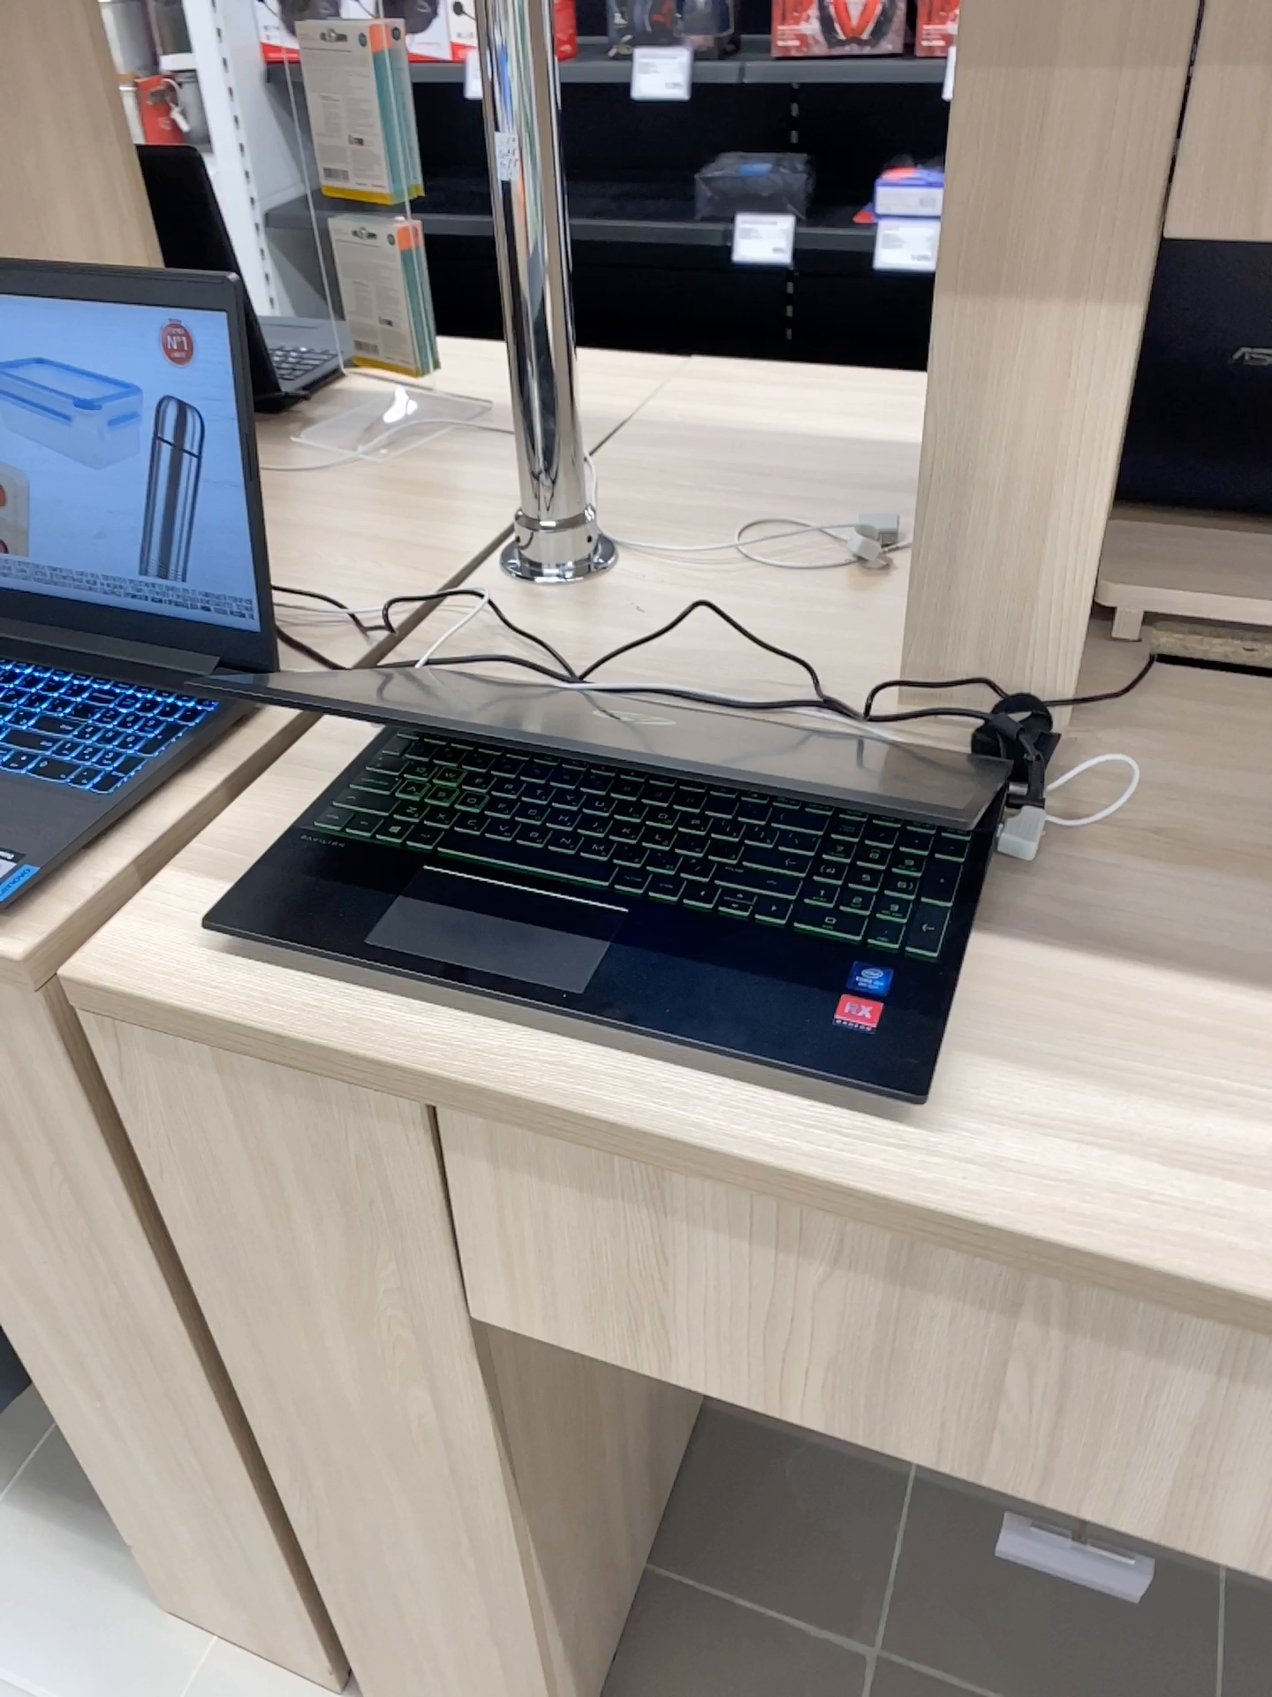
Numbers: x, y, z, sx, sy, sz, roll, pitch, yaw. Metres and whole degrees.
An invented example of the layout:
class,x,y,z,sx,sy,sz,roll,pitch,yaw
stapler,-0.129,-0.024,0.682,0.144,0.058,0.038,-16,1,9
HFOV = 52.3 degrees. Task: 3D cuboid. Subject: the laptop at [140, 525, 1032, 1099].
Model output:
class,x,y,z,sx,sy,sz,roll,pitch,yaw
laptop,-0.012,-0.043,0.647,0.365,0.108,0.235,11,39,18
